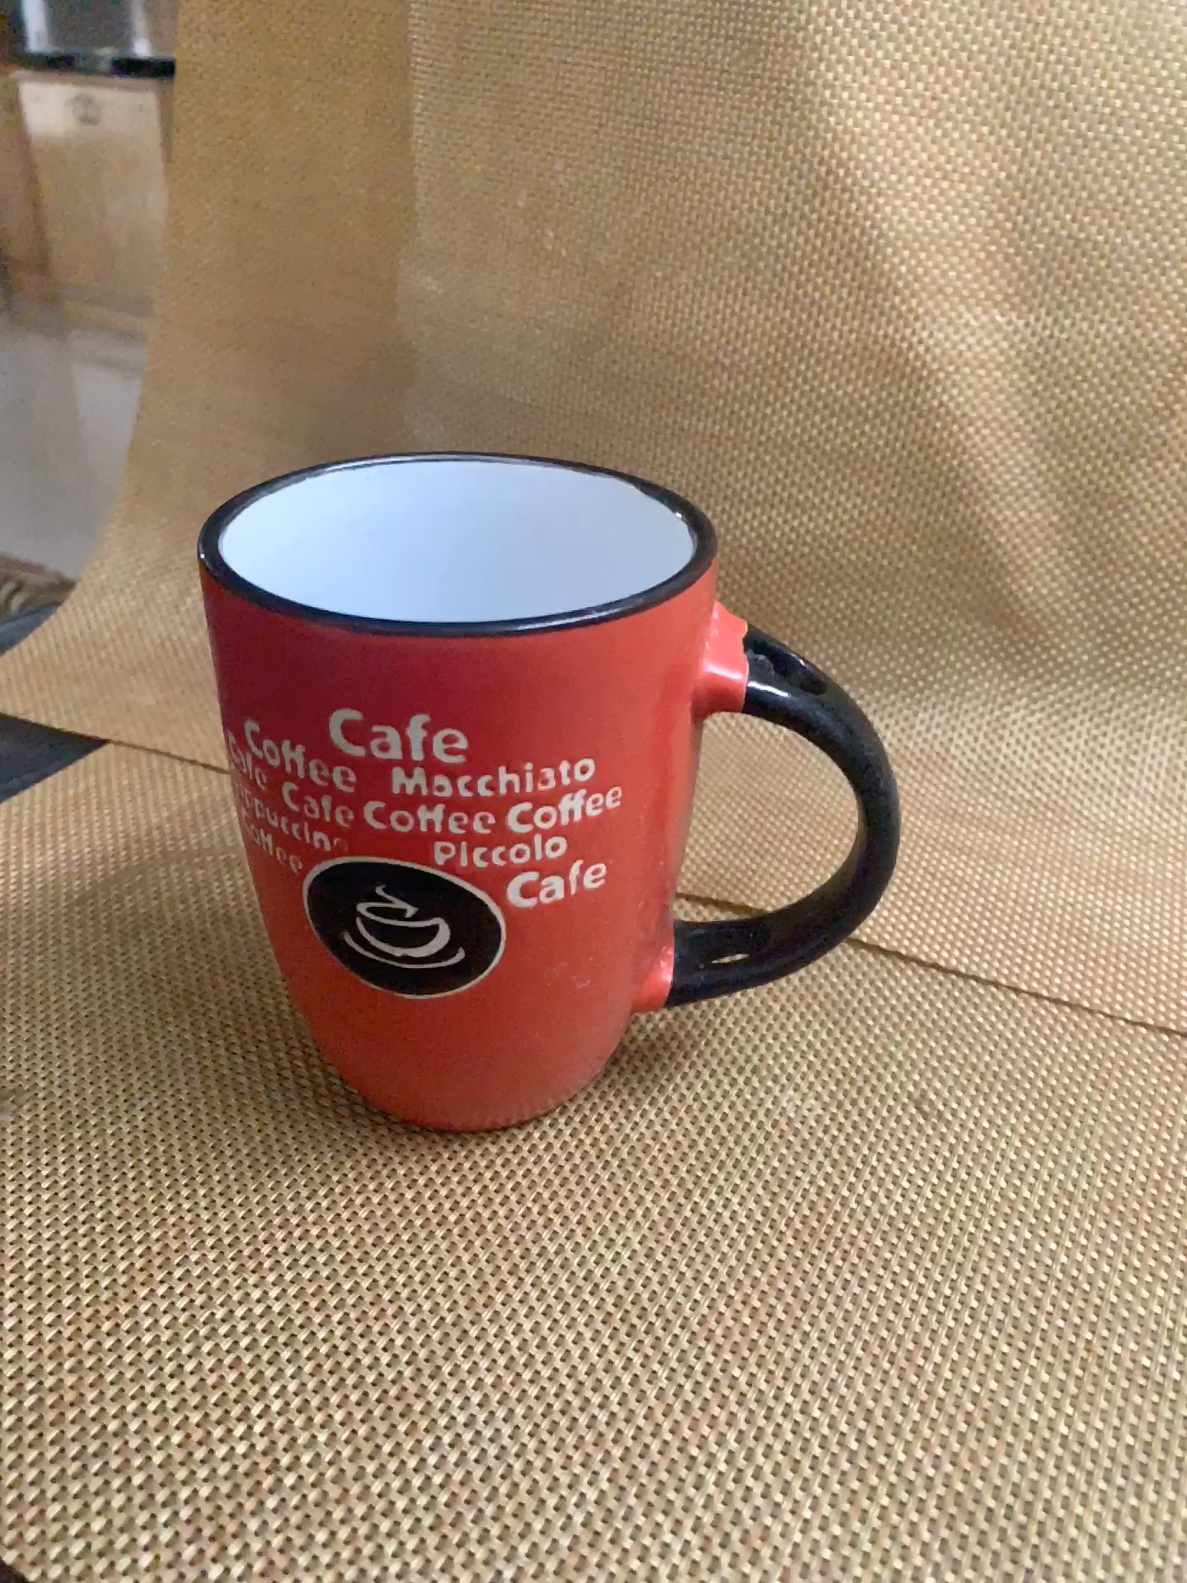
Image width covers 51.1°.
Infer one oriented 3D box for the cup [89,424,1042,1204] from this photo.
[{"bbox_3d":[-0.004,-0.001,0.220,0.120,0.099,0.091,3,31,1],"label":"cup"}]
